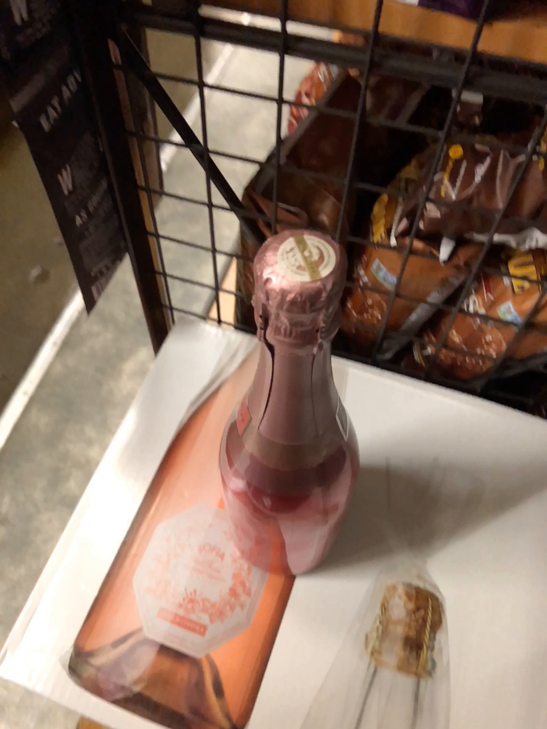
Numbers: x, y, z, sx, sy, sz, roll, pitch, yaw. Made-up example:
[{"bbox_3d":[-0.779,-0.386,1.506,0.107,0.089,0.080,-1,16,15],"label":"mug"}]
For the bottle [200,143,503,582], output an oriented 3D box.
[{"bbox_3d":[0.017,0.038,0.334,0.090,0.310,0.090,1,58,-2],"label":"bottle"}]
